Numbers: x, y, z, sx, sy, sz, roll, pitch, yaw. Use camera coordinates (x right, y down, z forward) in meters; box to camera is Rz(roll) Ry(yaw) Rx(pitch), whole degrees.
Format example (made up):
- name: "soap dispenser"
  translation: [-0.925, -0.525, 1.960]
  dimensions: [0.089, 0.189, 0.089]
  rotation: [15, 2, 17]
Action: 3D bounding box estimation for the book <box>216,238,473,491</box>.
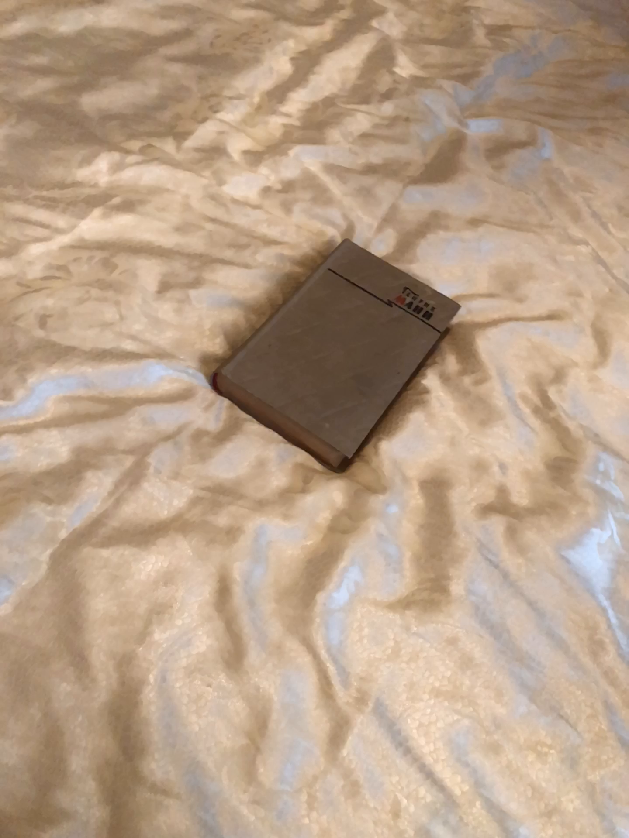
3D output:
- name: "book"
  translation: [0.031, -0.059, 0.639]
  dimensions: [0.142, 0.051, 0.209]
  rotation: [33, 59, 12]
